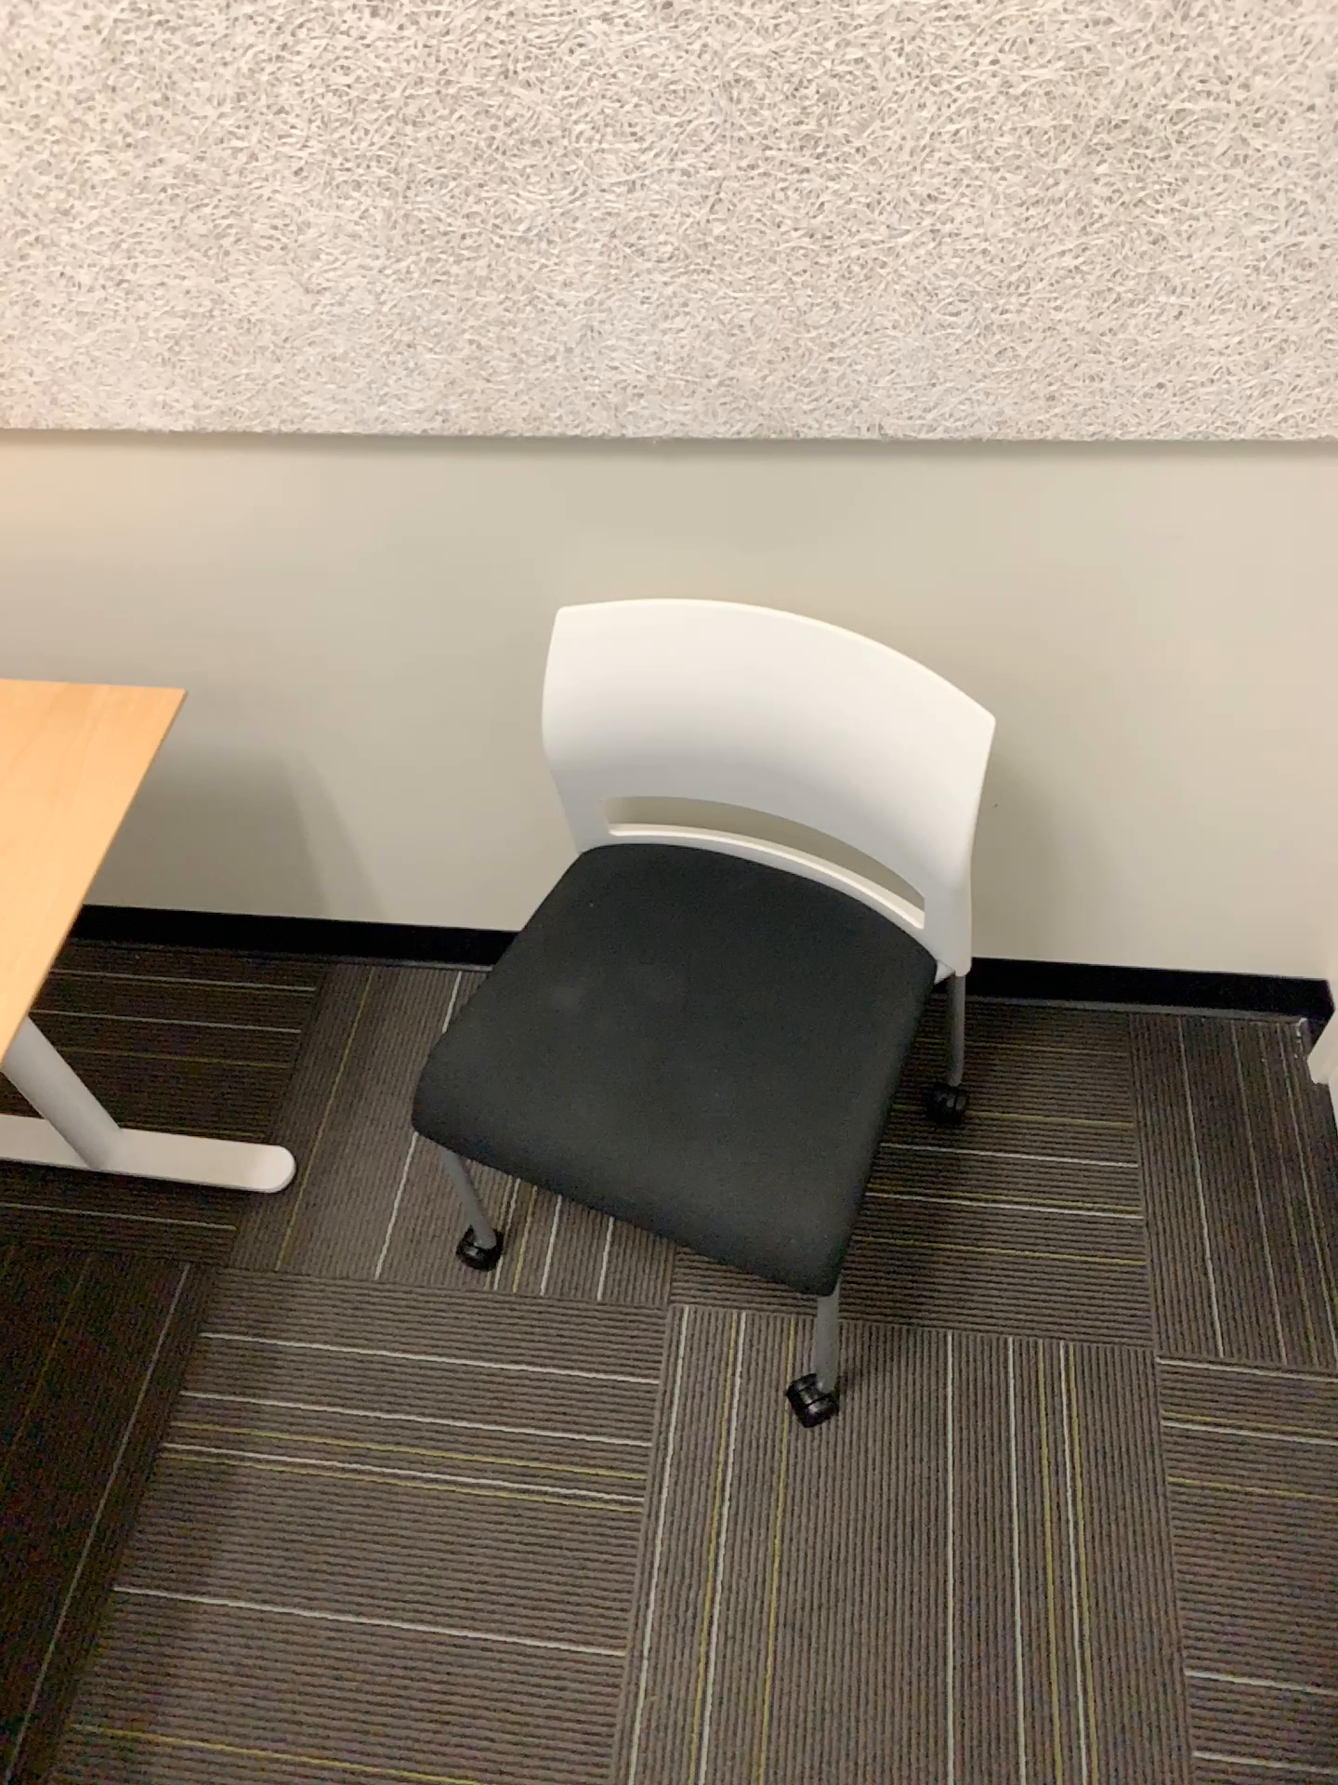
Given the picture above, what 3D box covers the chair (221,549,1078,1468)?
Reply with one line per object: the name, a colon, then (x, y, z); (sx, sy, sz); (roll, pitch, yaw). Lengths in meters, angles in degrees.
chair: (0.026, 0.148, 1.483); (0.581, 0.737, 0.541); (18, 57, 18)
